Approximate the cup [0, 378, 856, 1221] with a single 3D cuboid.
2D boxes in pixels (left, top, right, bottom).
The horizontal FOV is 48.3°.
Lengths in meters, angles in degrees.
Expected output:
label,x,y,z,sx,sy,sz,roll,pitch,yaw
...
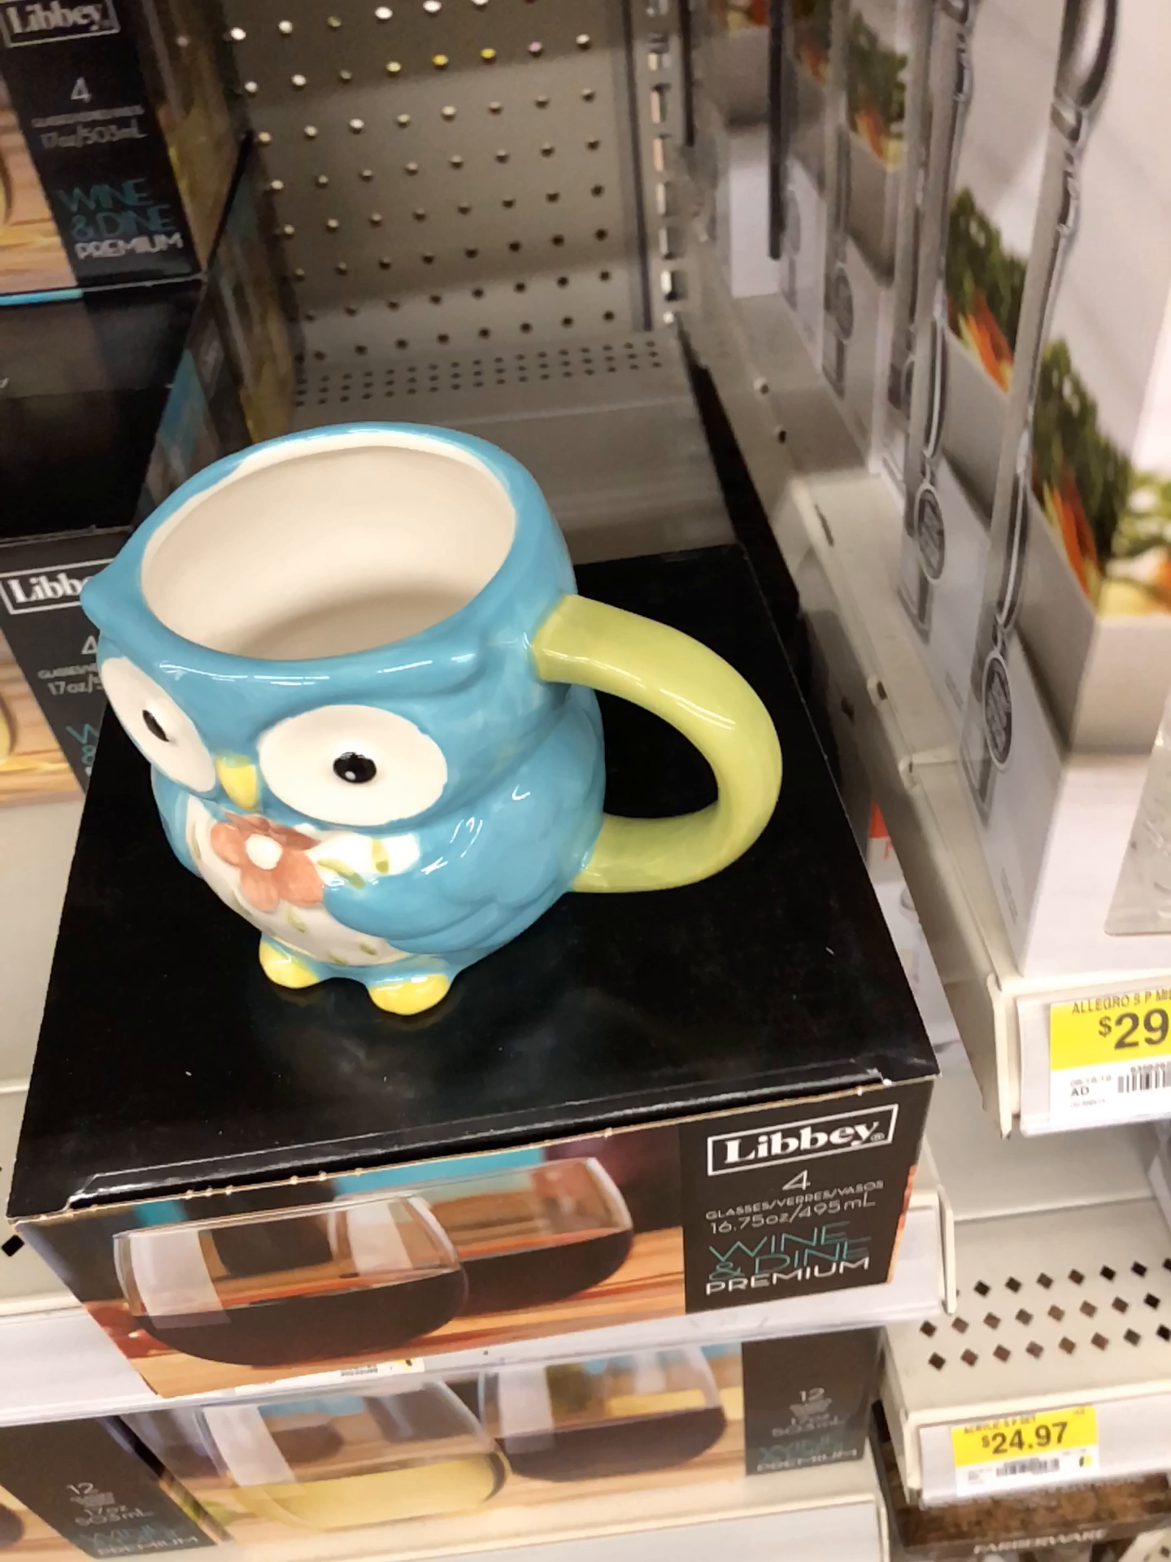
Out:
label,x,y,z,sx,sy,sz,roll,pitch,yaw
cup,-0.029,-0.002,0.270,0.140,0.110,0.090,17,49,24
